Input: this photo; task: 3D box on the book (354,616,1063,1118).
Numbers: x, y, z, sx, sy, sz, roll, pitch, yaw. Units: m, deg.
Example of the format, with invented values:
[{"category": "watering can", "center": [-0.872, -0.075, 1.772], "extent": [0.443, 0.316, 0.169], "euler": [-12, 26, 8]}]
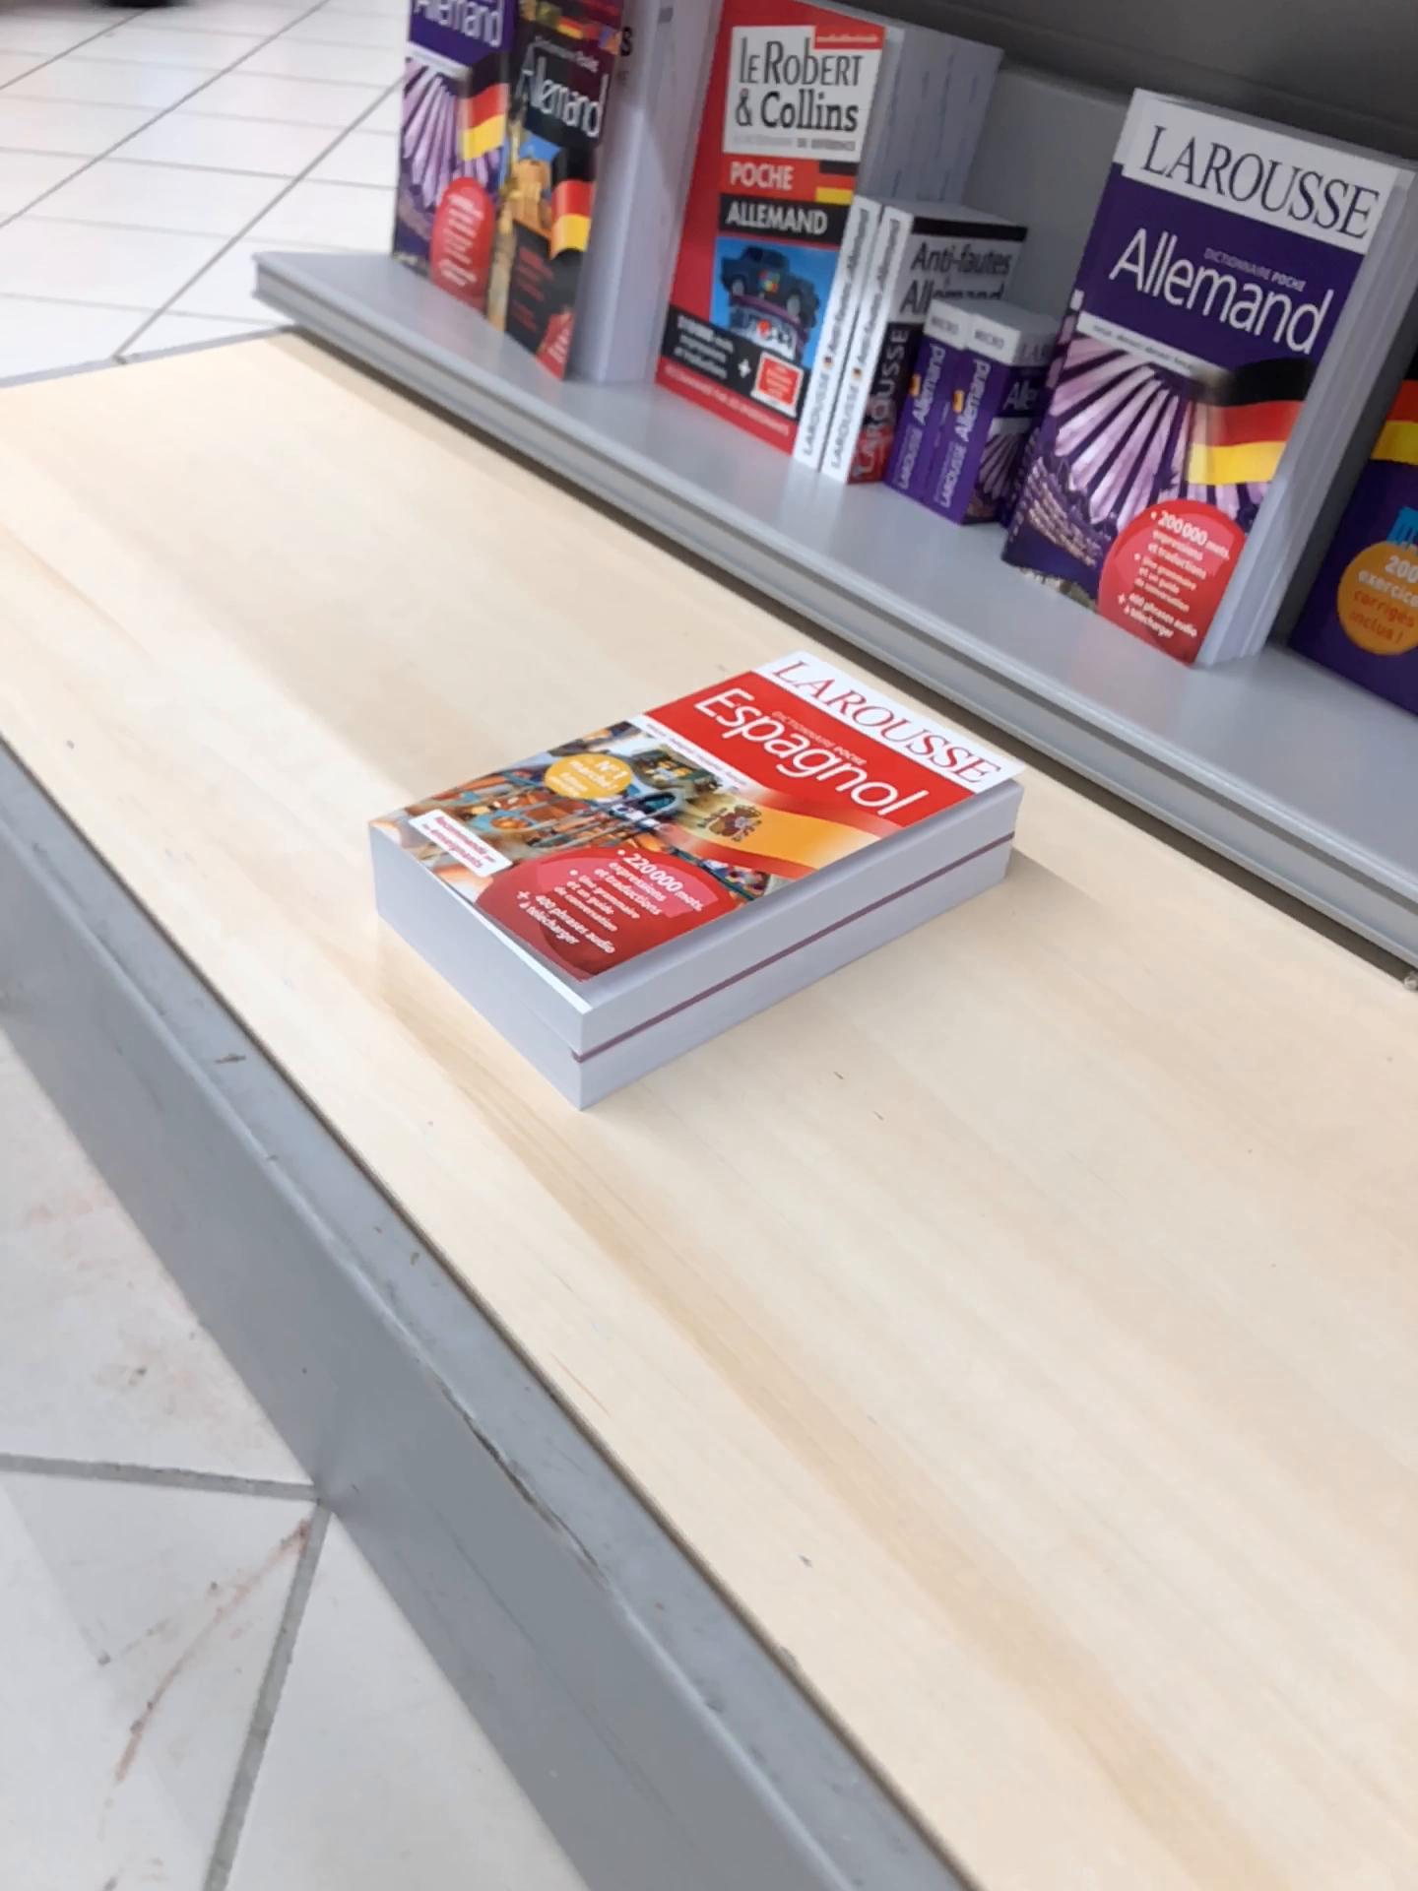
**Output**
[{"category": "book", "center": [0.002, -0.035, 0.487], "extent": [0.183, 0.044, 0.117], "euler": [-26, 49, -32]}]
